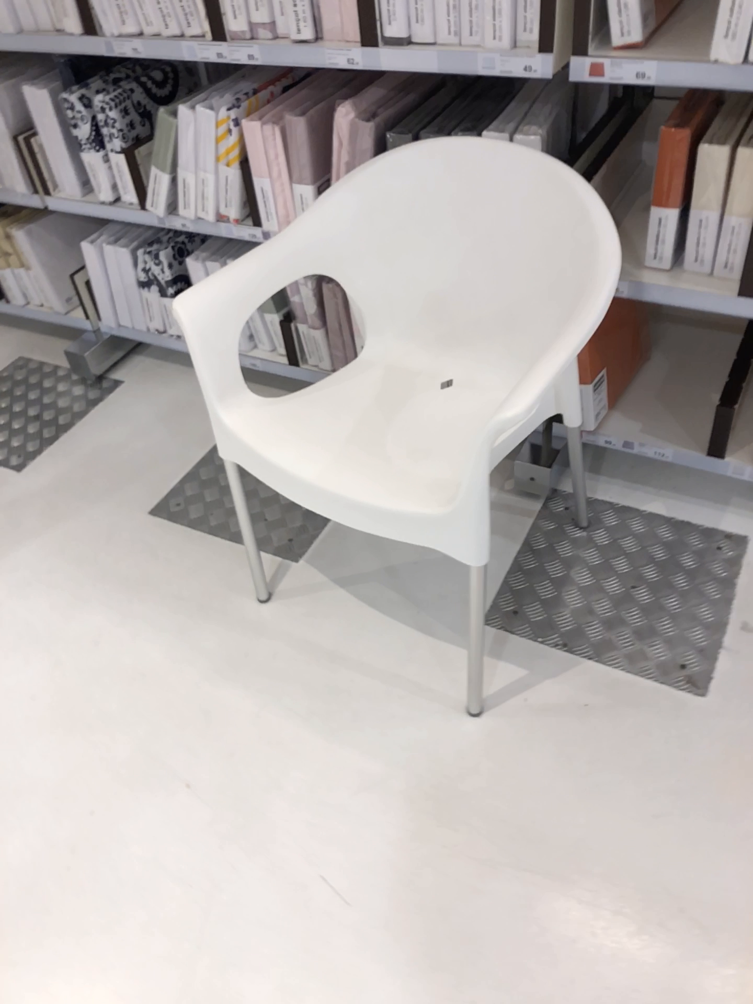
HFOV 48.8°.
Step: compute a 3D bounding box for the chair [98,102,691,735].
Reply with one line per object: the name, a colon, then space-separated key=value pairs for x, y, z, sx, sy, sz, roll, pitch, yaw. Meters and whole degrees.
chair: x=0.066 y=-0.158 z=1.354 sx=0.591 sy=0.705 sz=0.553 roll=23 pitch=51 yaw=29
